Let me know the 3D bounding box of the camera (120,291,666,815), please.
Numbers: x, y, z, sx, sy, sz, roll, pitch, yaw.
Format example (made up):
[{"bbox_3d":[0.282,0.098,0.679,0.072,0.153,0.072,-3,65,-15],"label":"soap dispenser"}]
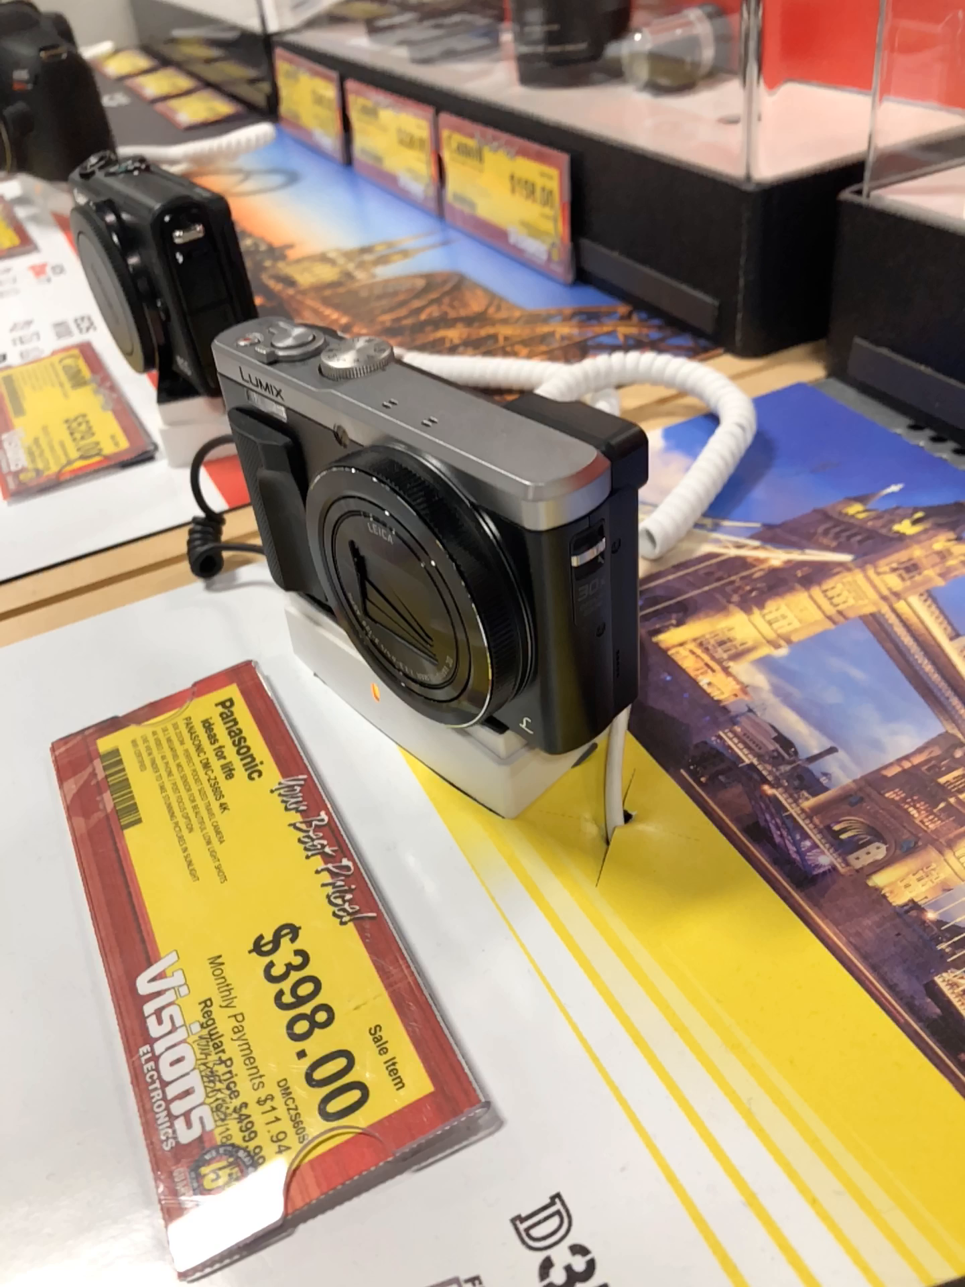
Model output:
[{"bbox_3d":[-0.021,-0.026,0.223,0.040,0.060,0.121,-32,43,-28],"label":"camera"}]
